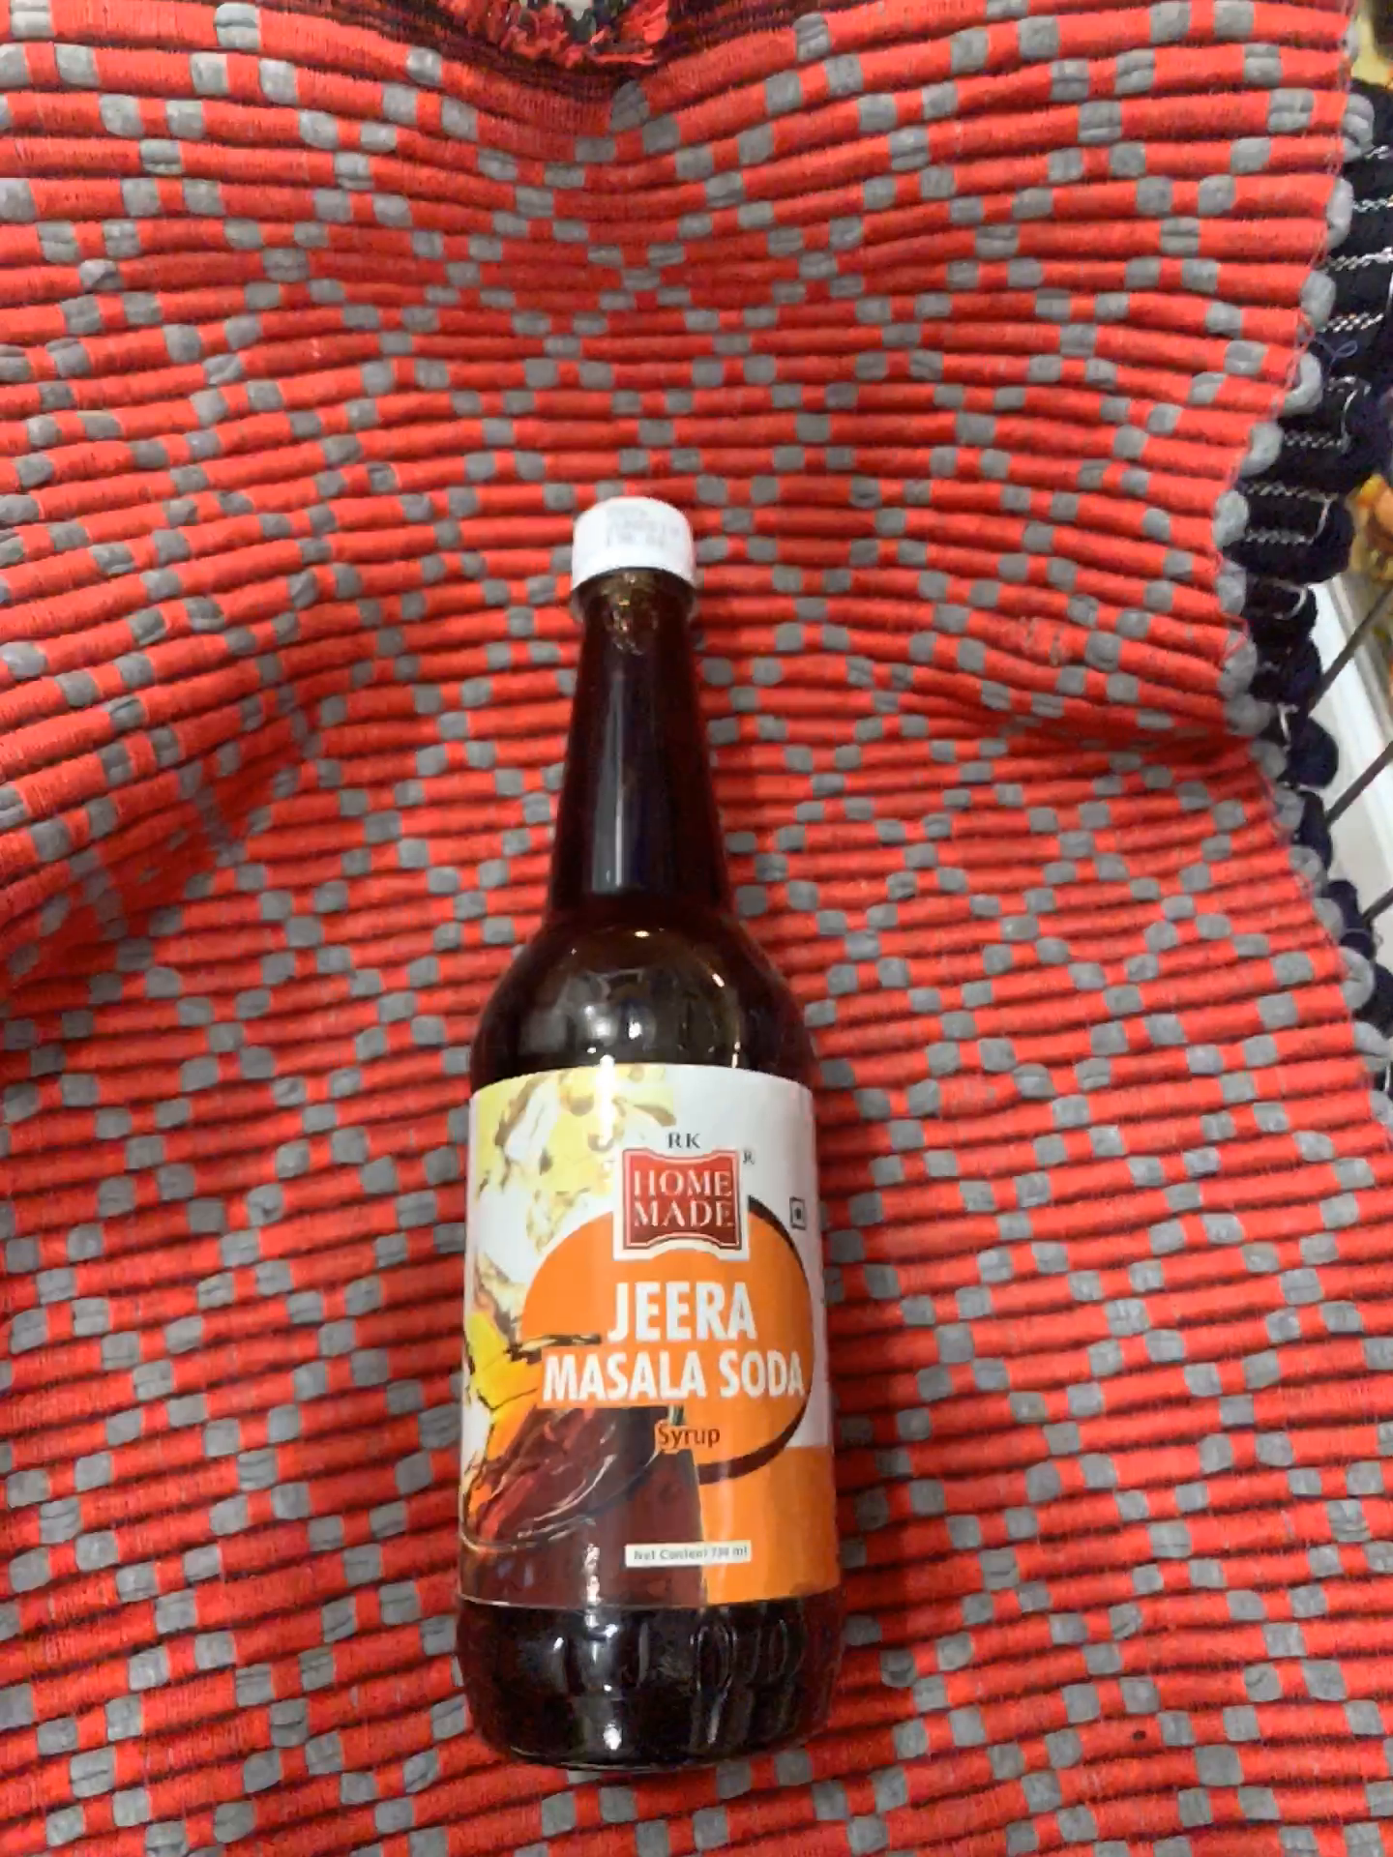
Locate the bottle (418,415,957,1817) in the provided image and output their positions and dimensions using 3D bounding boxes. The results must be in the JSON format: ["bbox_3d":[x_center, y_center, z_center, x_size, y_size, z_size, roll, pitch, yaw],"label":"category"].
[{"bbox_3d":[-0.009,0.026,0.303,0.080,0.070,0.260,4,67,-14],"label":"bottle"}]
